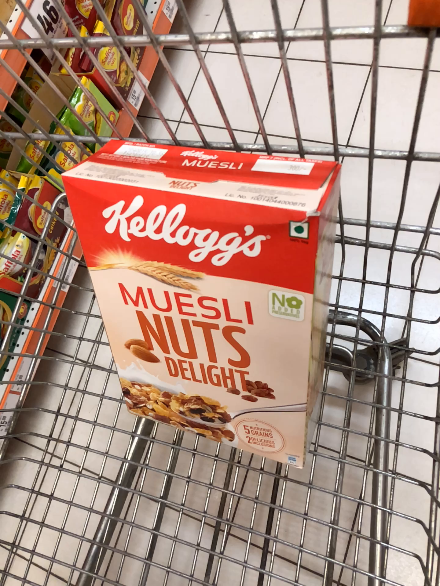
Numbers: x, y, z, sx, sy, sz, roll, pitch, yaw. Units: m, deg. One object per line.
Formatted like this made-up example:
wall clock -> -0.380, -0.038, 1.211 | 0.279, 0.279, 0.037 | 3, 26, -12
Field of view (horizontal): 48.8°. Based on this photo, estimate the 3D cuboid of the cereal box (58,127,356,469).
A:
cereal box -> -0.003, 0.011, 0.389 | 0.180, 0.249, 0.070 | 12, 40, 20
